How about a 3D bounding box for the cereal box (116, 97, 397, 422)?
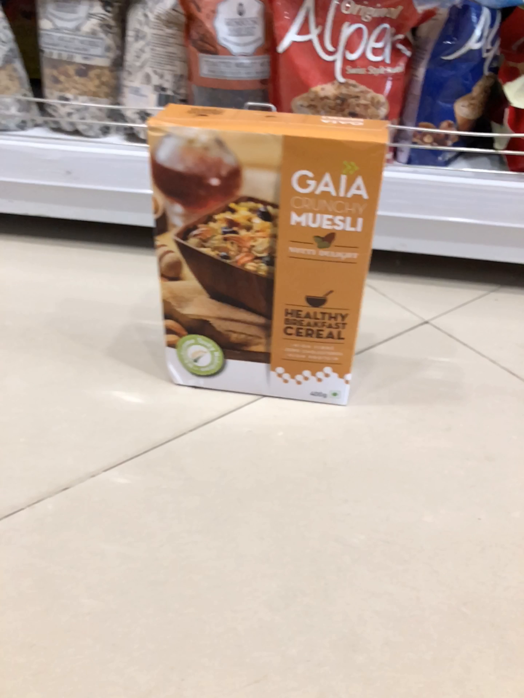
[{"bbox_3d":[-0.004,-0.064,0.484,0.190,0.248,0.060,7,37,7],"label":"cereal box"}]
